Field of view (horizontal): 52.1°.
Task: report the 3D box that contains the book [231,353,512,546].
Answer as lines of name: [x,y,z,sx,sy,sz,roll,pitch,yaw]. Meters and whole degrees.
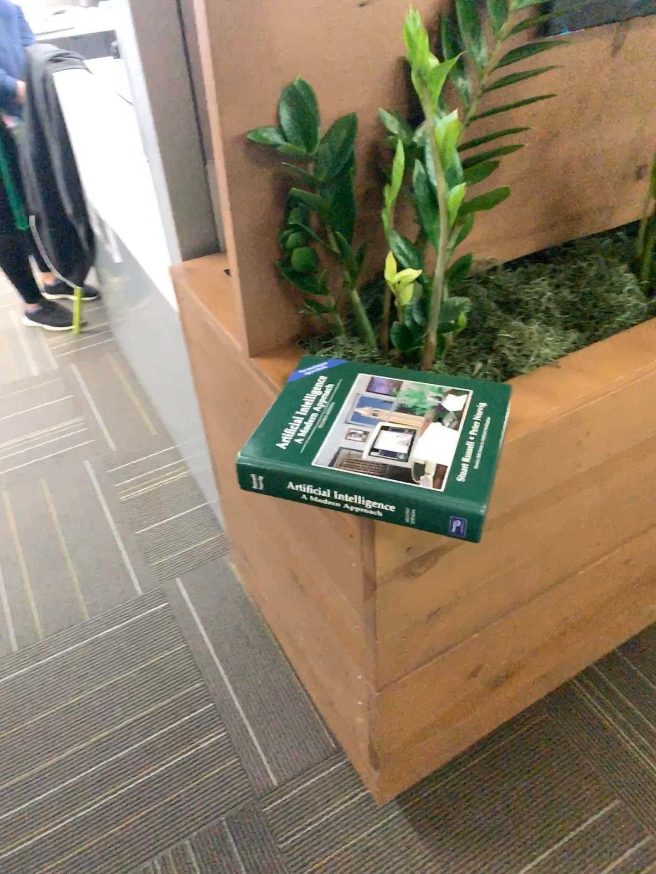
book: [0.057,0.000,0.753,0.260,0.050,0.211,10,42,17]
